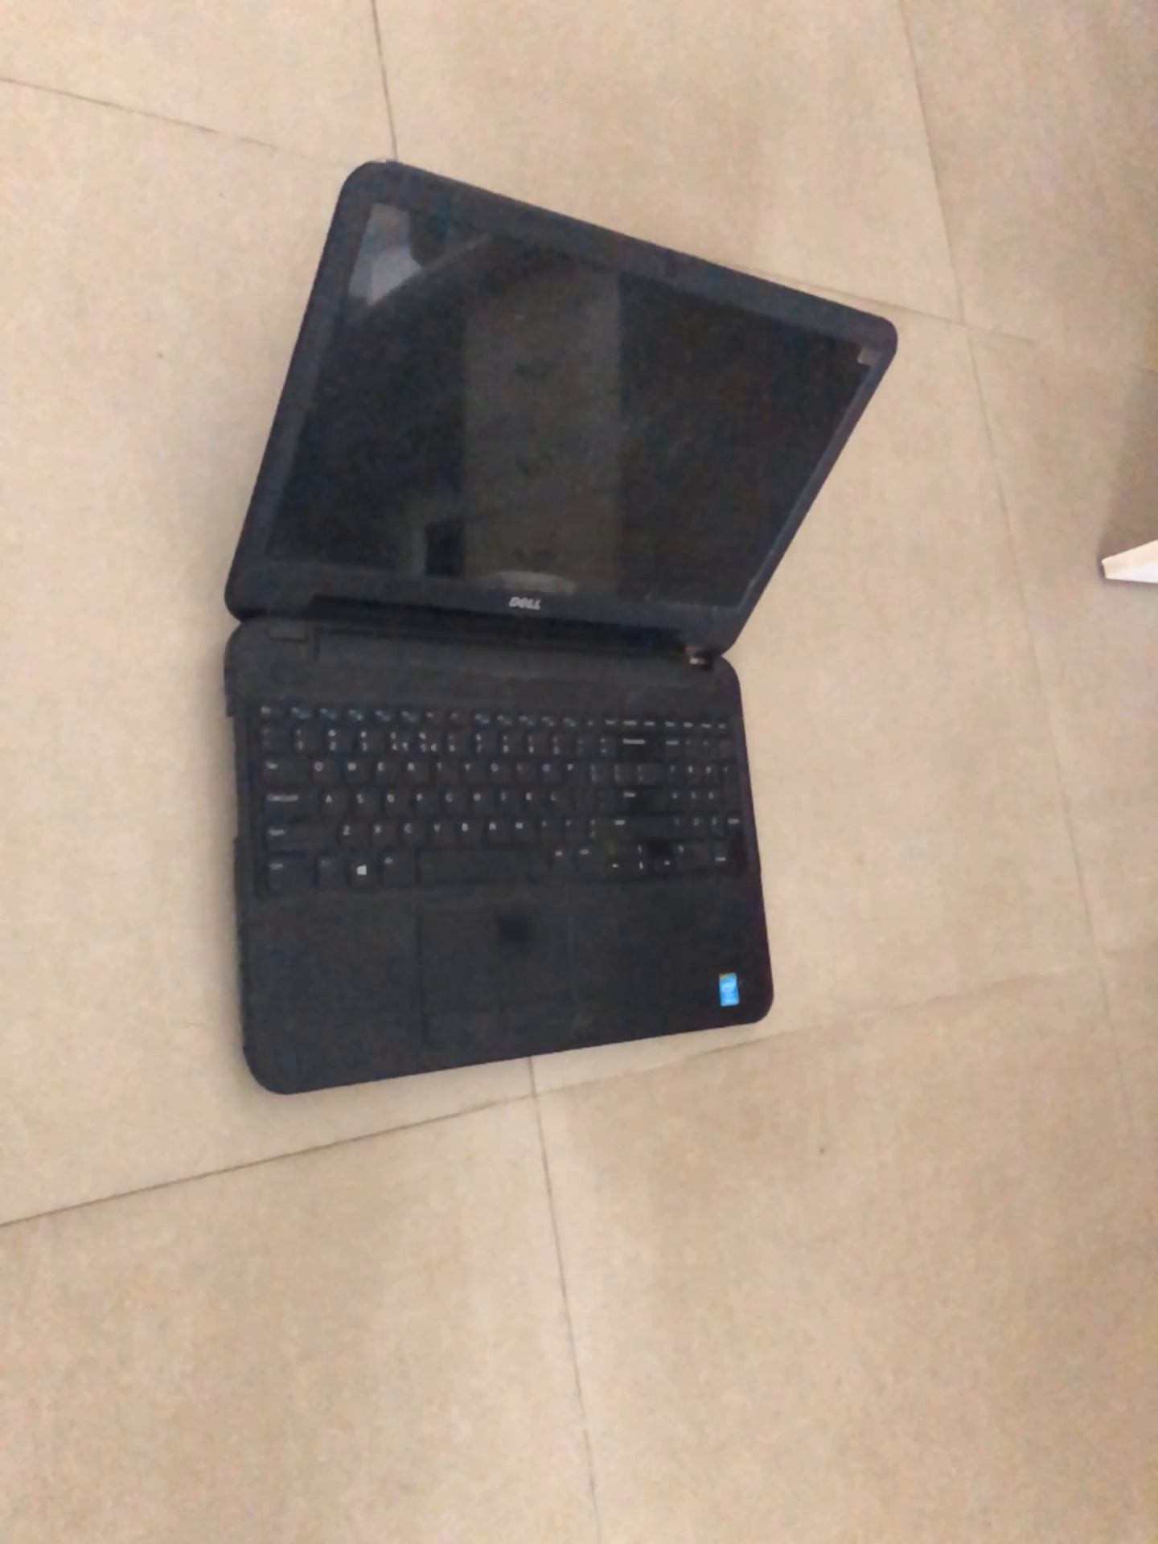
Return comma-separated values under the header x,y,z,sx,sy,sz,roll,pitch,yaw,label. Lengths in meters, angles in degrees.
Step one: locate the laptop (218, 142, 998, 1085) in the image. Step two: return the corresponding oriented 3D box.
x,y,z,sx,sy,sz,roll,pitch,yaw,label
0.015,-0.060,0.697,0.344,0.179,0.405,0,79,-35,laptop
